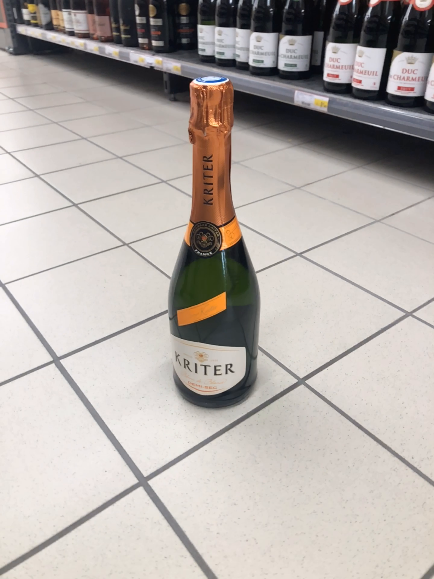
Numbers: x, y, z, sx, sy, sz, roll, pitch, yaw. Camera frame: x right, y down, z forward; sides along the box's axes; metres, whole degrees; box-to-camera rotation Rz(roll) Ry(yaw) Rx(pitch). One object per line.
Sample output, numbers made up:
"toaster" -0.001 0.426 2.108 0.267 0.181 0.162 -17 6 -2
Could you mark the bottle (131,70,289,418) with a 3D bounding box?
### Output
"bottle" 0.000 -0.034 0.459 0.100 0.308 0.101 0 32 0
